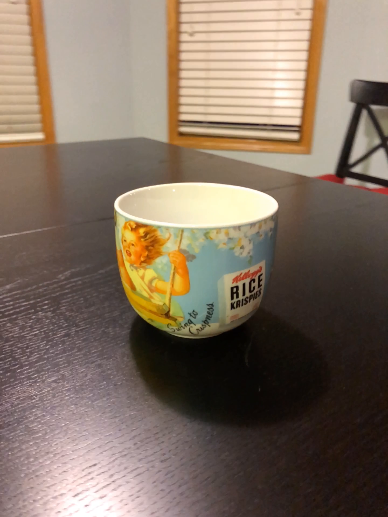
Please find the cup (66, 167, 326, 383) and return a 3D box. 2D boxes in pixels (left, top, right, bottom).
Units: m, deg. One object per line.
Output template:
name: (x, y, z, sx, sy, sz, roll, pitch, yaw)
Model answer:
cup: (-0.007, -0.006, 0.323, 0.120, 0.090, 0.150, -13, 26, -31)
